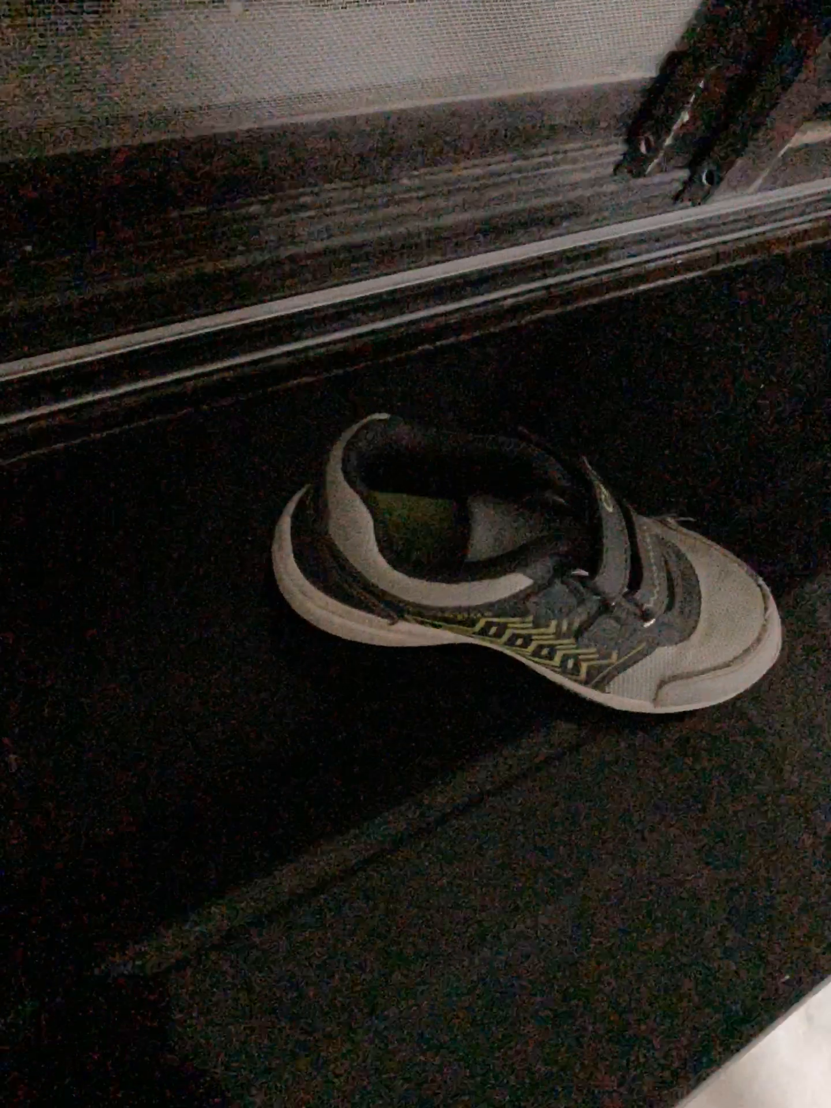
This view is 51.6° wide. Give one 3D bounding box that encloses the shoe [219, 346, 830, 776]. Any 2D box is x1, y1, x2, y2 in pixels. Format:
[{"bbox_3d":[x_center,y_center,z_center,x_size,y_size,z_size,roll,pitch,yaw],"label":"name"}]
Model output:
[{"bbox_3d":[0.050,0.010,0.342,0.230,0.080,0.090,15,60,-9],"label":"shoe"}]
